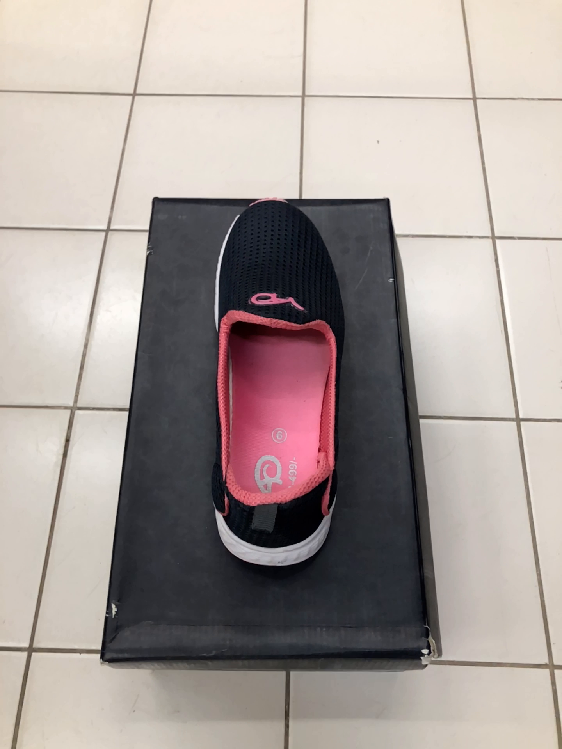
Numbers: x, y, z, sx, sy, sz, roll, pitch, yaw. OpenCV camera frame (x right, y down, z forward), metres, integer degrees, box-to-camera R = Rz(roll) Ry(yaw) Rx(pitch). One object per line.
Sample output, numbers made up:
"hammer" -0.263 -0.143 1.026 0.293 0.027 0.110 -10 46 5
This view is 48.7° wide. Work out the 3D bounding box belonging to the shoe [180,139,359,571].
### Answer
"shoe" -0.003 -0.017 0.413 0.090 0.100 0.271 1 65 1
